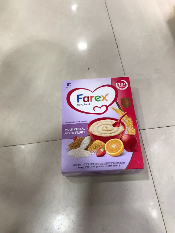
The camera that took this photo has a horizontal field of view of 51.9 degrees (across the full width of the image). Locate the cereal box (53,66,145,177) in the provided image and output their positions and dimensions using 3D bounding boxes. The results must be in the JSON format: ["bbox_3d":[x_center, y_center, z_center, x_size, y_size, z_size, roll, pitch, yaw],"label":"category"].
[{"bbox_3d":[0.013,0.006,0.361,0.150,0.060,0.210,-3,66,-1],"label":"cereal box"}]
